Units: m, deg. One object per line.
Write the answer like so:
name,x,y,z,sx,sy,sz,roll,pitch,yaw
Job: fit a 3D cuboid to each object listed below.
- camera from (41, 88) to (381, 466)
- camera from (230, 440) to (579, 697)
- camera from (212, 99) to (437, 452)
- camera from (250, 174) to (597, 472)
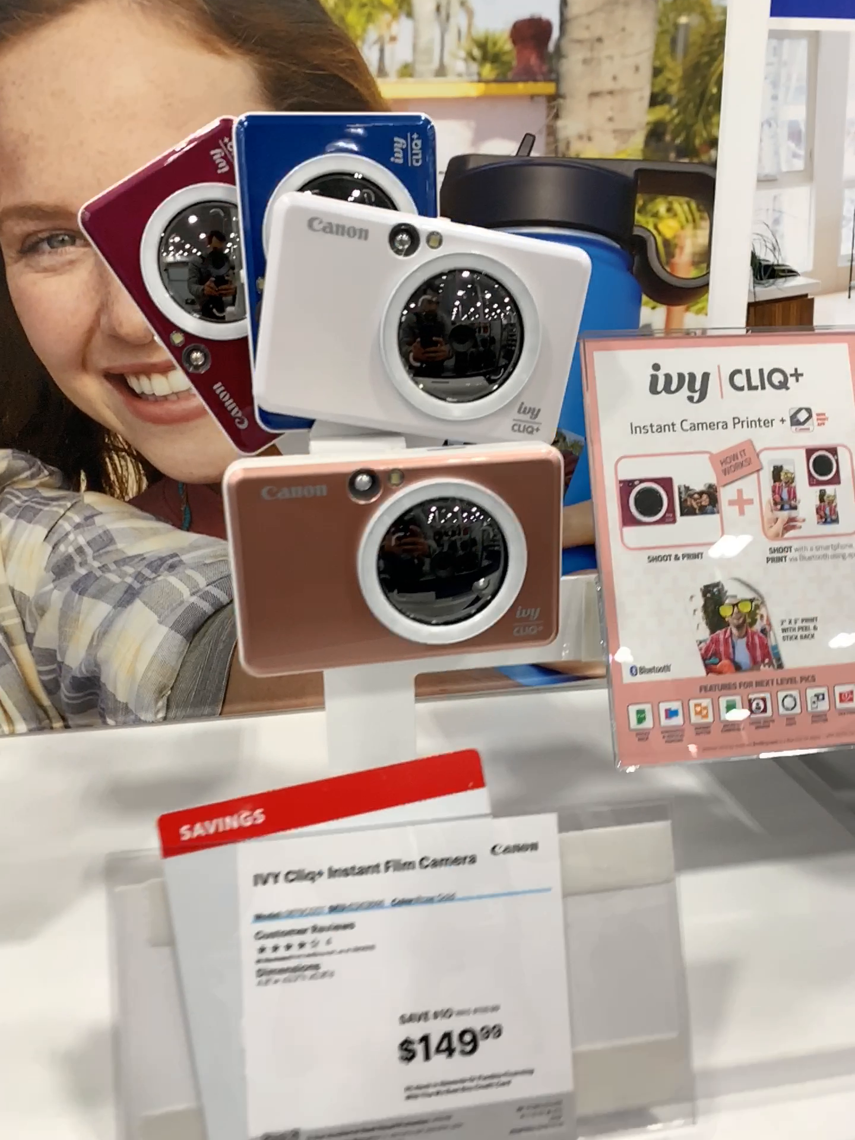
camera,-0.085,-0.117,0.366,0.080,0.120,0.030,-30,15,6
camera,-0.008,-0.003,0.322,0.120,0.080,0.030,-4,17,-11
camera,-0.039,-0.117,0.360,0.080,0.130,0.030,-2,16,-2
camera,-0.004,-0.093,0.346,0.120,0.090,0.030,6,14,-14
